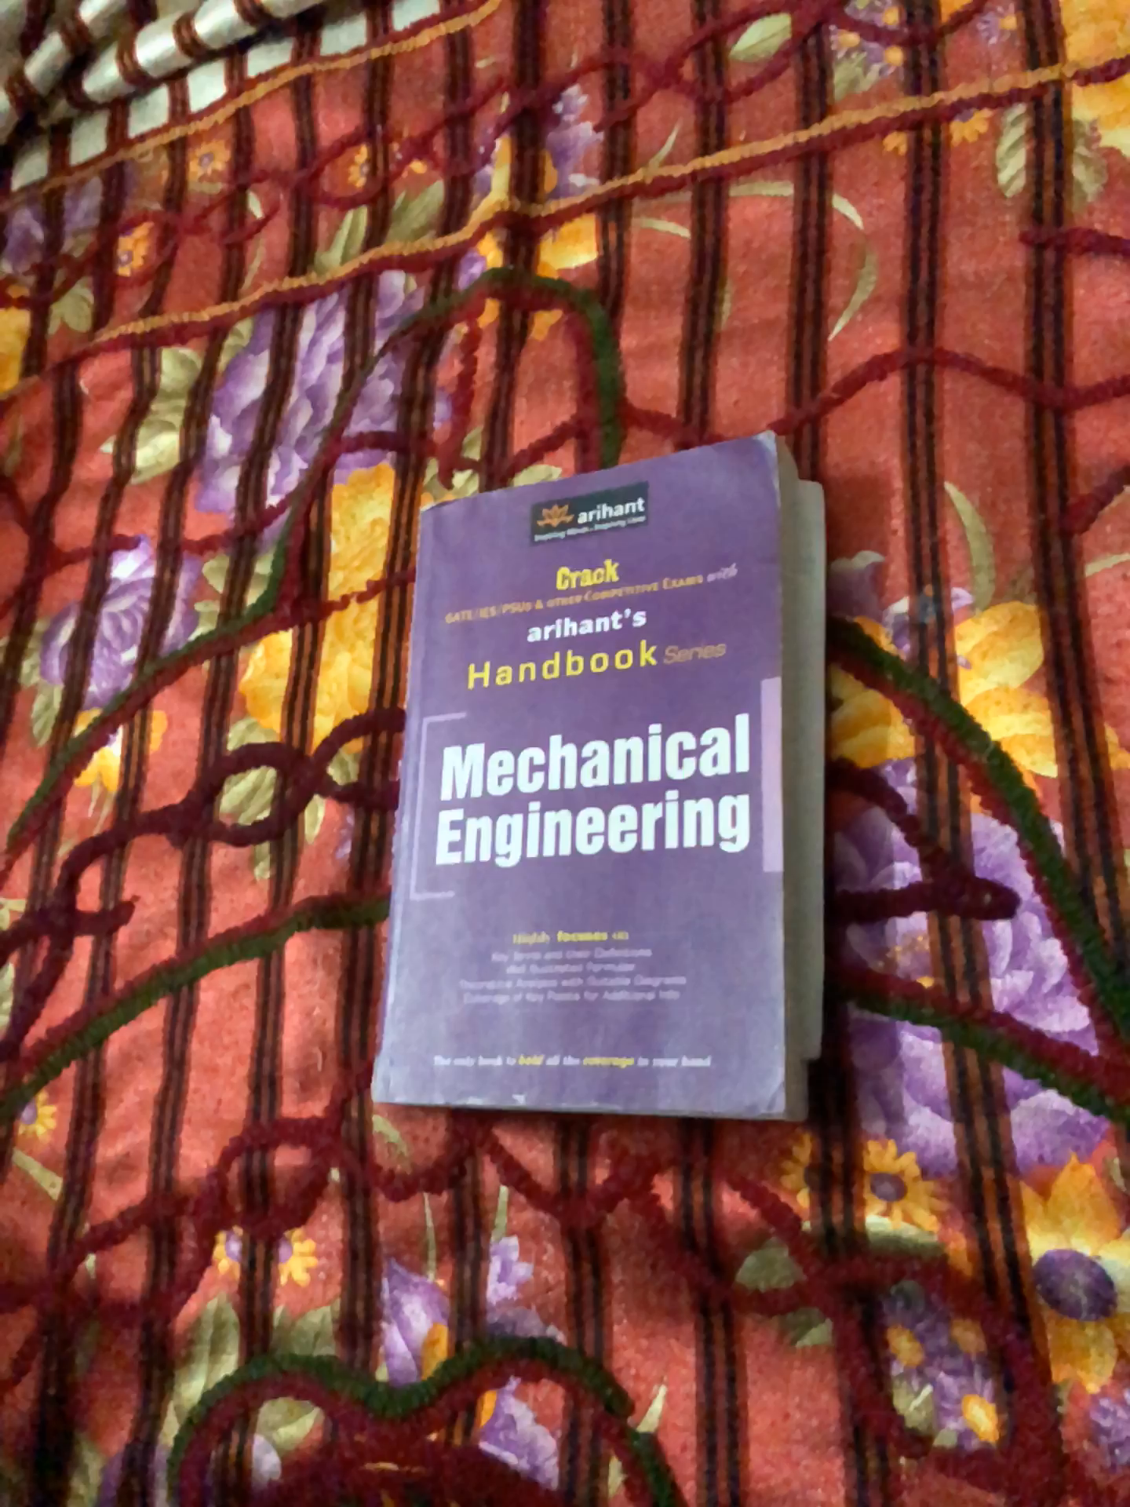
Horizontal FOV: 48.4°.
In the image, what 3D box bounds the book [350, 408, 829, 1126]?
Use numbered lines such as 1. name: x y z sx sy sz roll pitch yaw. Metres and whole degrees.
1. book: 0.010 0.006 0.435 0.148 0.040 0.231 -6 70 23
